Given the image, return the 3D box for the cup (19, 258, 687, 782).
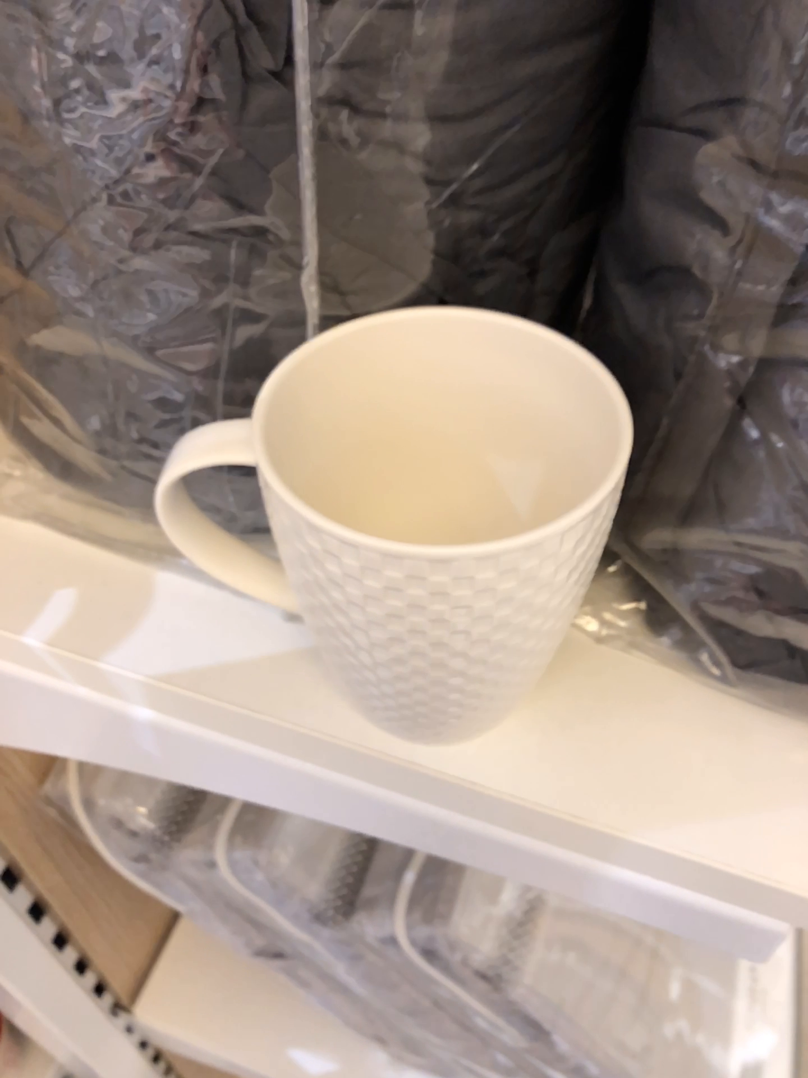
[{"bbox_3d":[-0.008,-0.003,0.210,0.110,0.090,0.080,1,48,0],"label":"cup"}]
